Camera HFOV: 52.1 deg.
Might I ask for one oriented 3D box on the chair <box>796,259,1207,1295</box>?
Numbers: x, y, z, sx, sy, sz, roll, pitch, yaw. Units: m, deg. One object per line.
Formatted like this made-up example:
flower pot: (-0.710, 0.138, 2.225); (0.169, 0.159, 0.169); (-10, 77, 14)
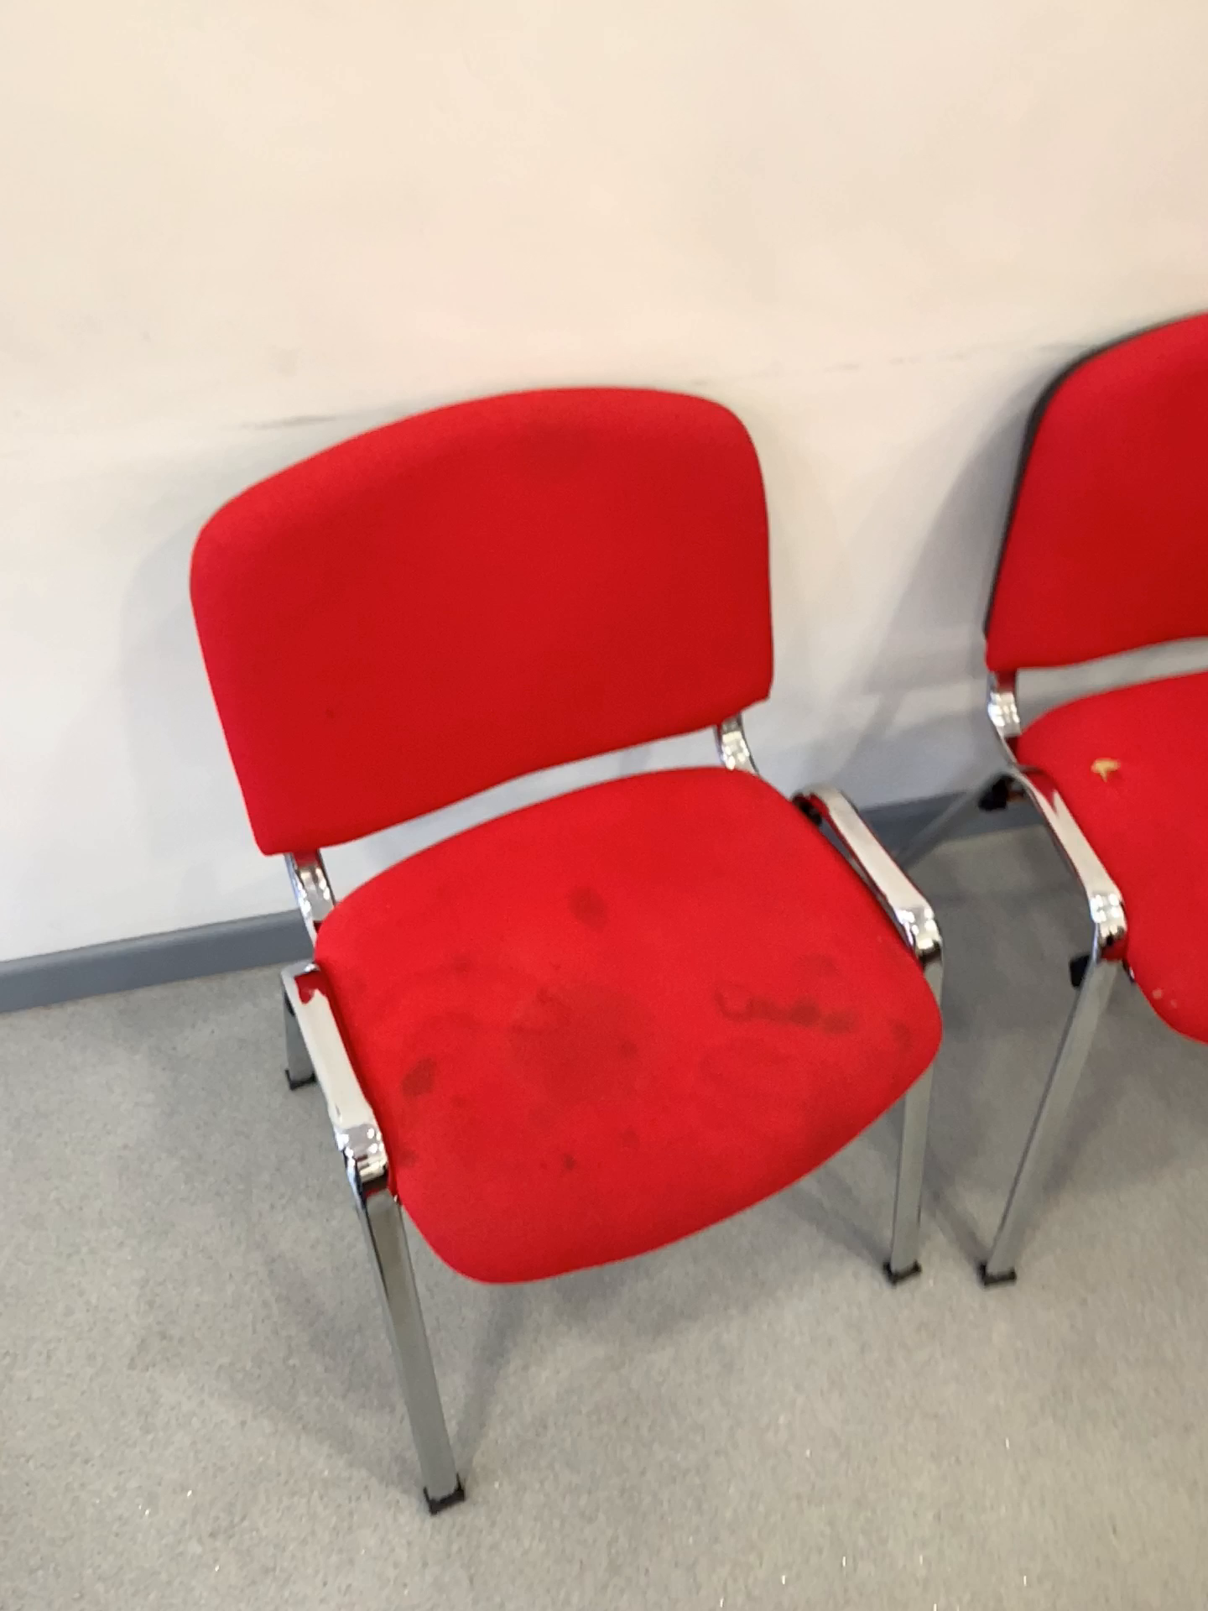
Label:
chair: (0.624, 0.009, 1.236); (0.567, 0.793, 0.592); (-9, 53, -10)

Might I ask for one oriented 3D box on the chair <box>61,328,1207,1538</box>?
chair: (-0.014, 0.135, 1.122); (0.598, 0.754, 0.632); (-19, 56, -17)
